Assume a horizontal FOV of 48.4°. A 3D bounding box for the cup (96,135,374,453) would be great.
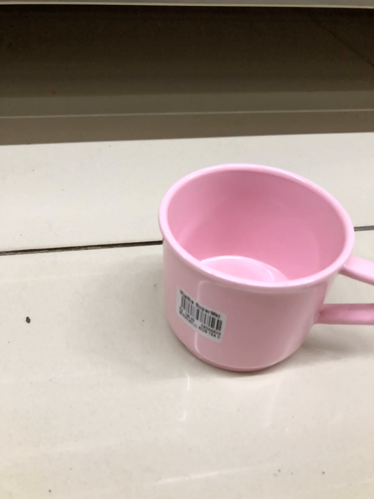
[{"bbox_3d":[0.032,0.014,0.188,0.110,0.079,0.081,18,44,16],"label":"cup"}]
